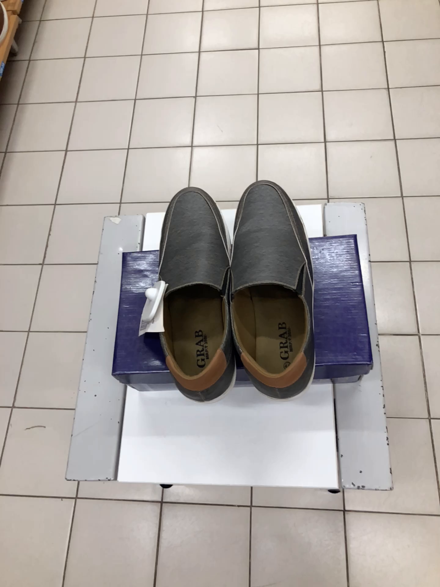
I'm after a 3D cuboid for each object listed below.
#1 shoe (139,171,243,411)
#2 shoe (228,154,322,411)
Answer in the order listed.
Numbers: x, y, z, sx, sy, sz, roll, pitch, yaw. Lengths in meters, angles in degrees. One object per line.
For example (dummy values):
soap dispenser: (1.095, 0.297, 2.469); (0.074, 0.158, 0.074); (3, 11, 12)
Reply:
shoe: (-0.037, -0.004, 0.598); (0.100, 0.100, 0.271); (-6, 66, 5)
shoe: (0.068, -0.014, 0.632); (0.100, 0.120, 0.311); (-2, 67, 7)
